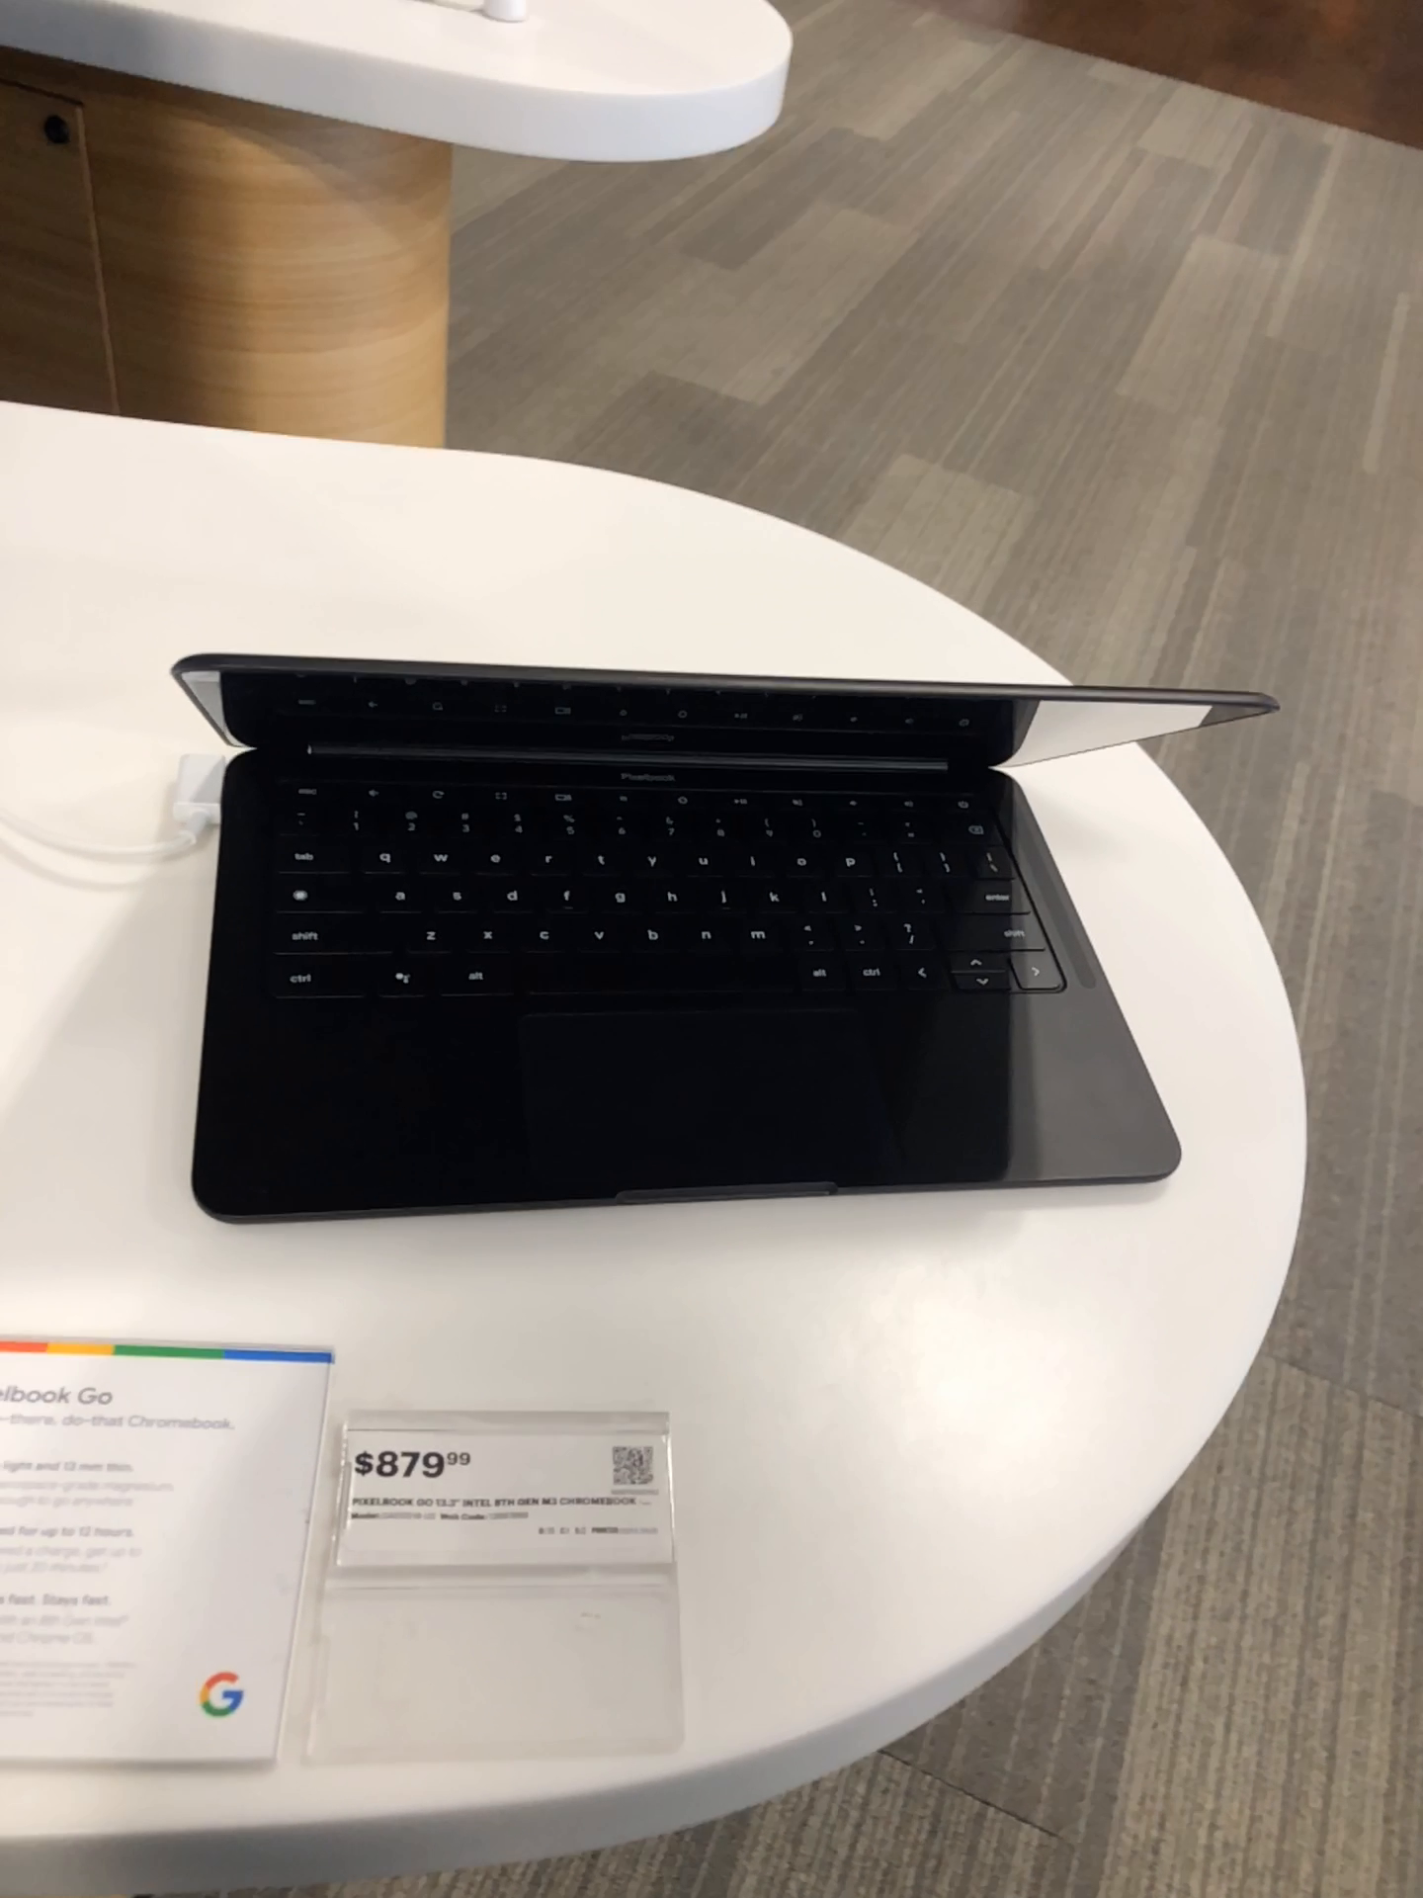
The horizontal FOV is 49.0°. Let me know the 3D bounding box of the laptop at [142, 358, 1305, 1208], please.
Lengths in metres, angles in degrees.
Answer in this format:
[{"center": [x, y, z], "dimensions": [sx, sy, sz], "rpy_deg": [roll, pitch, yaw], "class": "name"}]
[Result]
[{"center": [-0.007, -0.052, 0.474], "dimensions": [0.278, 0.146, 0.192], "rpy_deg": [0, 46, -16], "class": "laptop"}]
